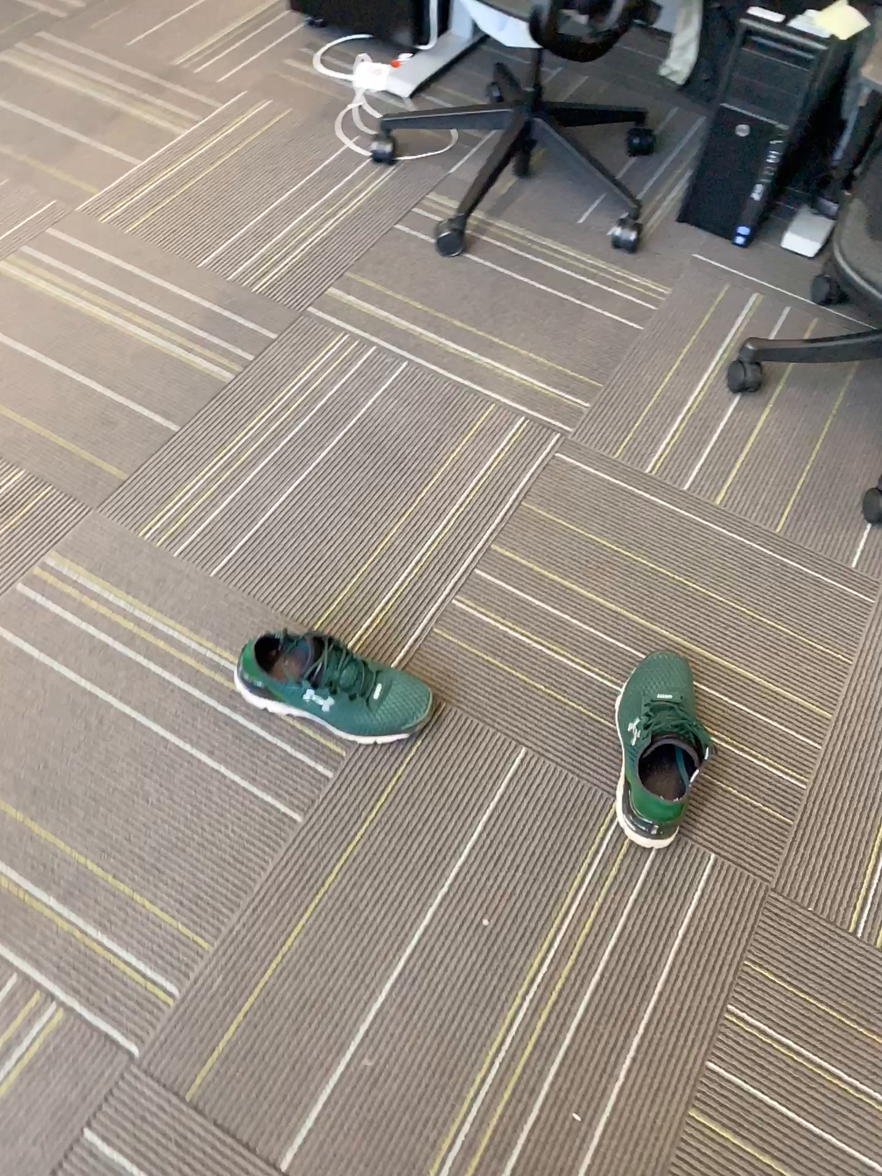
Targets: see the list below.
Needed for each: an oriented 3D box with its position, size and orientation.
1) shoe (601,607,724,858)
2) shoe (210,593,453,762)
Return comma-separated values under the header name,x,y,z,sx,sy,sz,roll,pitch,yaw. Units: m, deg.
name,x,y,z,sx,sy,sz,roll,pitch,yaw
shoe,0.316,0.202,1.282,0.130,0.130,0.311,10,56,2
shoe,-0.153,0.130,1.302,0.310,0.130,0.130,13,57,5
